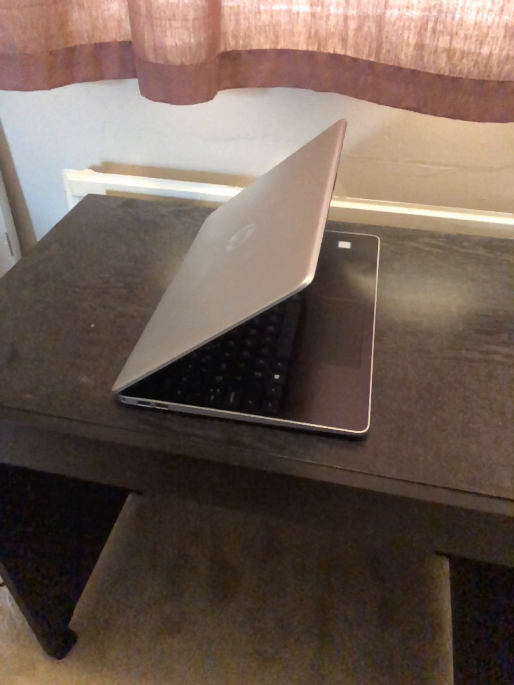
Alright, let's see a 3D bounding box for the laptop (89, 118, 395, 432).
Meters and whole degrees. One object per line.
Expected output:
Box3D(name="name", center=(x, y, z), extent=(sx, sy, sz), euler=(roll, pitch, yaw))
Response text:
Box3D(name="laptop", center=(0.019, -0.103, 0.617), extent=(0.236, 0.141, 0.363), euler=(8, 40, 7))
